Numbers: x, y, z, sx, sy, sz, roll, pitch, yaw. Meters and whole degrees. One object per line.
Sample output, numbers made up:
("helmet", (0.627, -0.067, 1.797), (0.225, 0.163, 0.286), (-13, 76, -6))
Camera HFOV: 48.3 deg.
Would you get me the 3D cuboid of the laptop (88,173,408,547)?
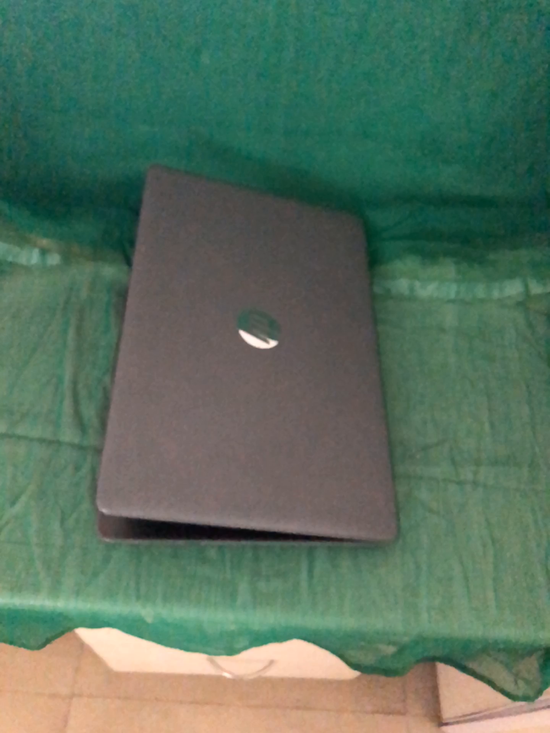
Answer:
("laptop", (-0.019, -0.026, 0.569), (0.231, 0.067, 0.361), (3, 57, -3))
